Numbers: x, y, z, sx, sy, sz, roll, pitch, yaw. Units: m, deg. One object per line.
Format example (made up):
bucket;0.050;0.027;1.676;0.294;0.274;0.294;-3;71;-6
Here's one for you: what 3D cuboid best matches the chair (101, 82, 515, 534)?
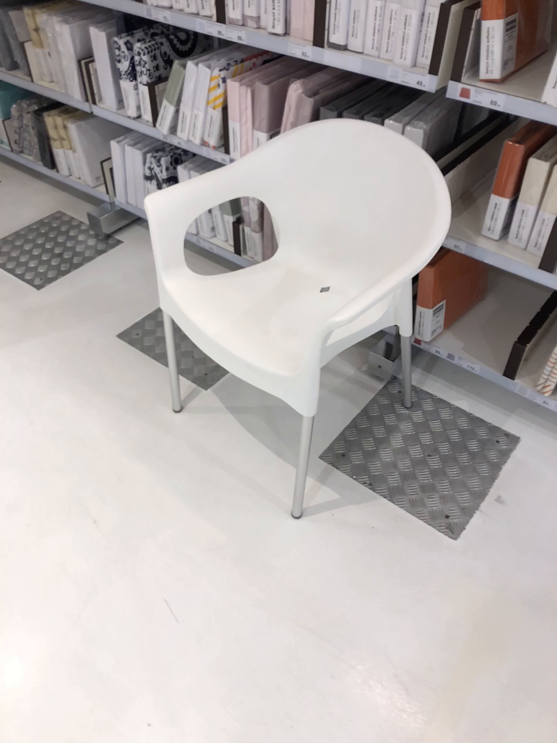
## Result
chair;0.053;-0.168;1.442;0.552;0.705;0.592;-33;53;-30
